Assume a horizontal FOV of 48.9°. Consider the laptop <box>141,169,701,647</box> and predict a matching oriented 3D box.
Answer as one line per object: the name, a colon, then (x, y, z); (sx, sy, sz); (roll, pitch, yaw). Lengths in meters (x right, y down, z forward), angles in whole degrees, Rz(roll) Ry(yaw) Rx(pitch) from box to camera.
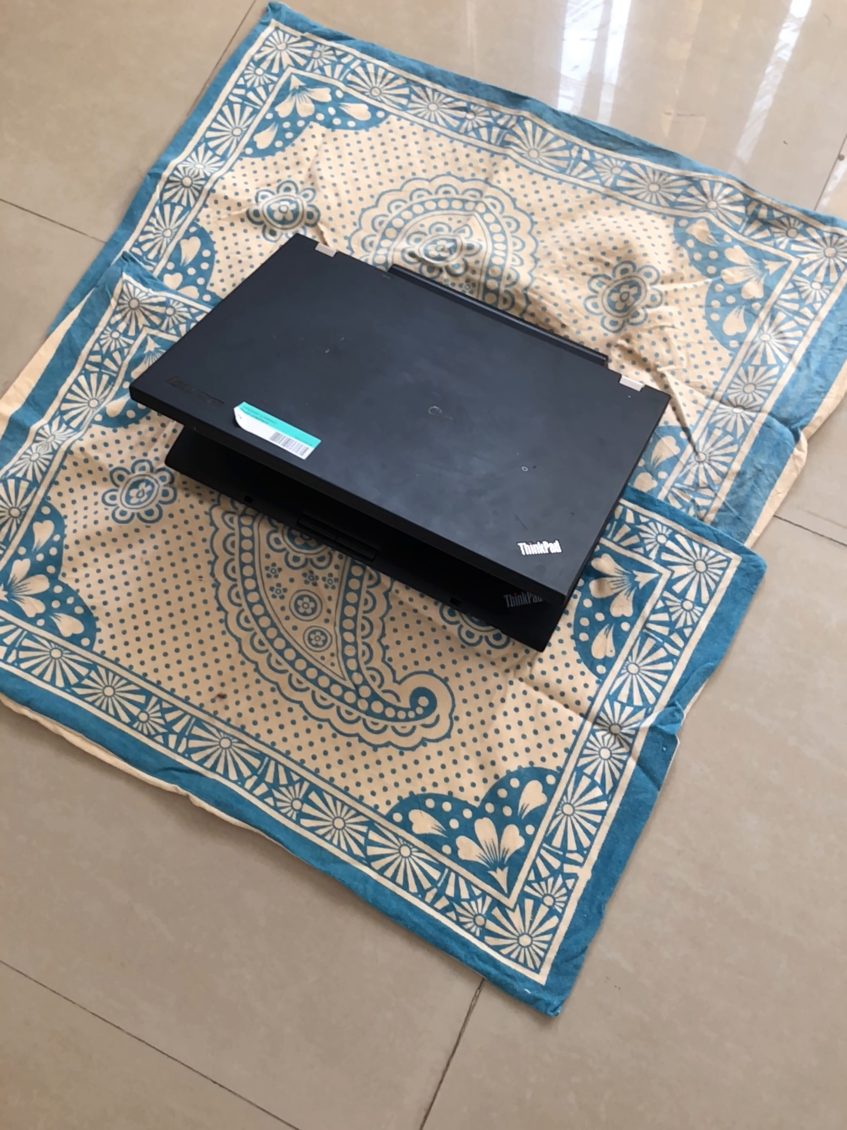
laptop: (-0.004, -0.130, 0.749); (0.347, 0.125, 0.240); (28, 77, 15)
